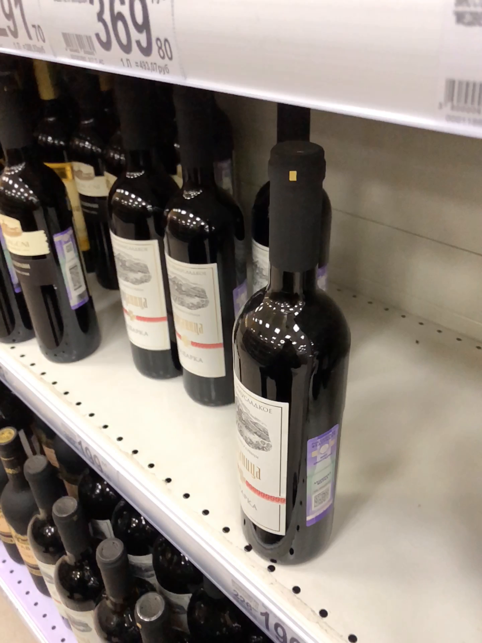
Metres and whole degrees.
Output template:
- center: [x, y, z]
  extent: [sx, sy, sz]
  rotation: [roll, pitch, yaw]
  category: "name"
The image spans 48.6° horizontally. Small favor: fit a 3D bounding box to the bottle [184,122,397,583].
- center: [0.027, 0.040, 0.359]
  extent: [0.080, 0.307, 0.080]
  rotation: [-2, 35, 1]
  category: "bottle"
